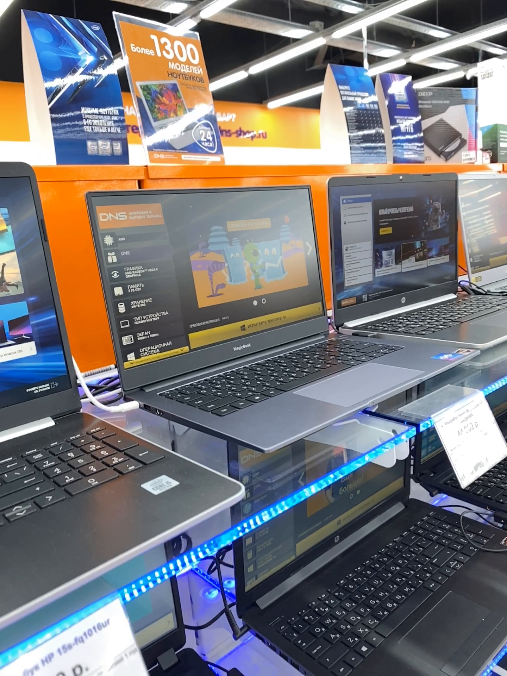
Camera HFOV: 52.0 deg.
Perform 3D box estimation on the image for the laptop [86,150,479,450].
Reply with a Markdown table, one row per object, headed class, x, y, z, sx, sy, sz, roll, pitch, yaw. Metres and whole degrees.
| class | x | y | z | sx | sy | sz | roll | pitch | yaw |
| --- | --- | --- | --- | --- | --- | --- | --- | --- | --- |
| laptop | 0.043 | -0.064 | 0.541 | 0.323 | 0.203 | 0.238 | -14 | 15 | -40 |
